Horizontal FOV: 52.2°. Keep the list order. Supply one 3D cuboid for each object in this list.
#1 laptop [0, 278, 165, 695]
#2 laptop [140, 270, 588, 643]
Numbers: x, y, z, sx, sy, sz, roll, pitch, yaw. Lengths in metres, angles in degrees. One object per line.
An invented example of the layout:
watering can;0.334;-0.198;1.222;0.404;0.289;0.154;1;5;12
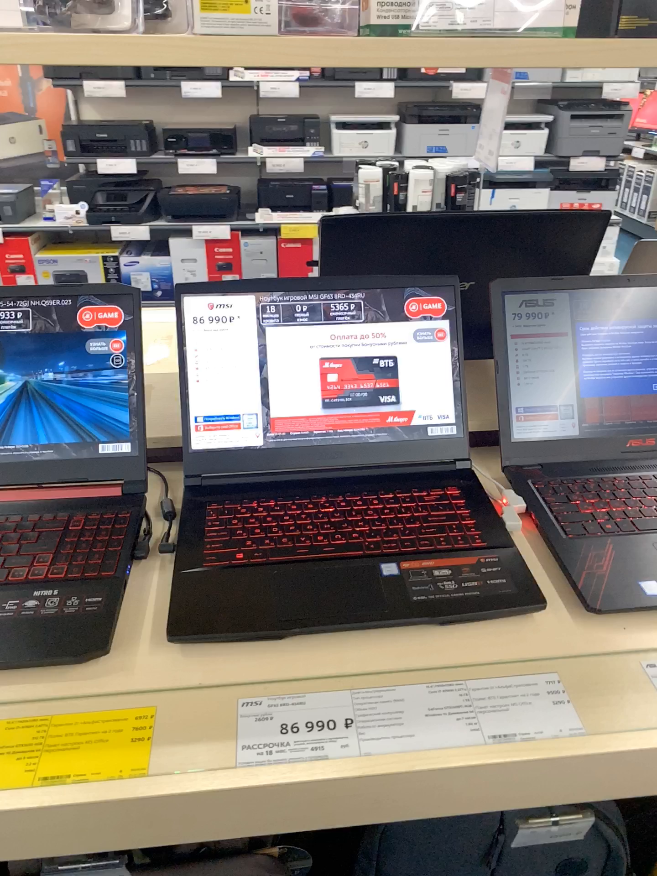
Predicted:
laptop;-0.371;0.008;0.662;0.334;0.211;0.373;-2;30;-5
laptop;0.011;-0.017;0.721;0.350;0.204;0.372;-3;31;-7
